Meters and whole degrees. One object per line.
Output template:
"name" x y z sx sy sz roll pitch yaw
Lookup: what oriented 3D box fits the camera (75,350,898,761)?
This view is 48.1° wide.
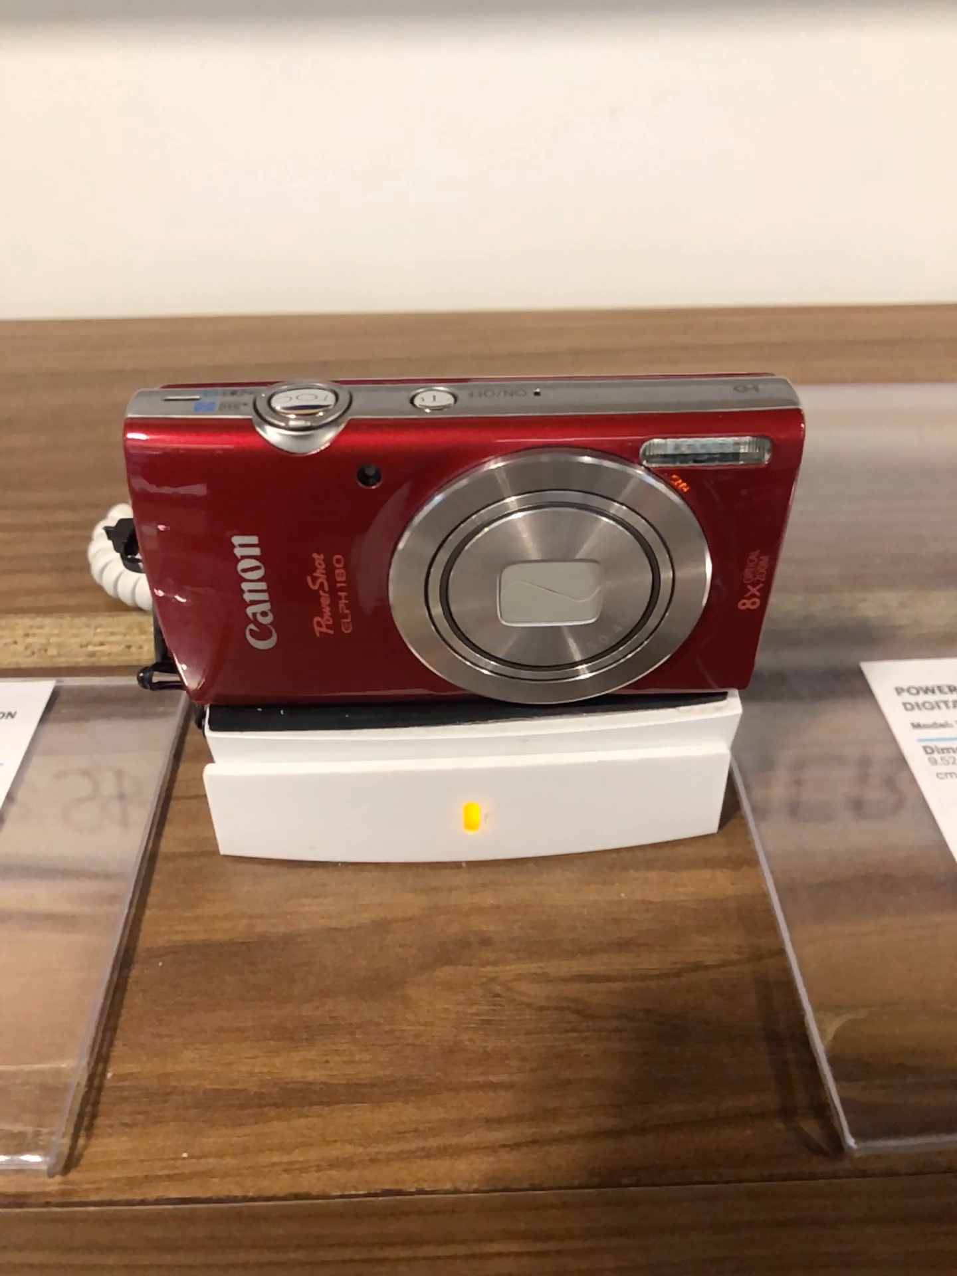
"camera" 0.001 -0.012 0.157 0.100 0.050 0.030 -1 38 -1
